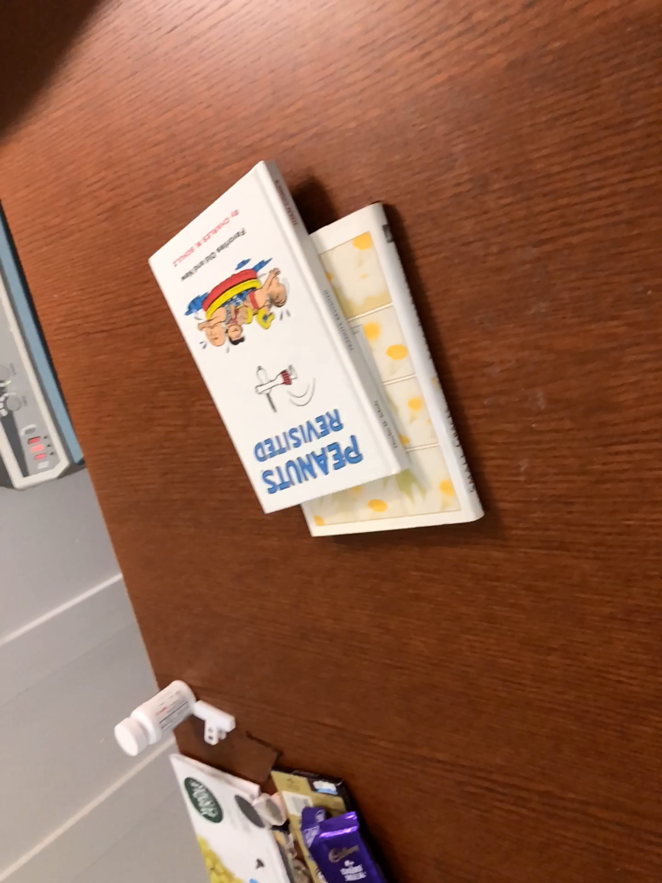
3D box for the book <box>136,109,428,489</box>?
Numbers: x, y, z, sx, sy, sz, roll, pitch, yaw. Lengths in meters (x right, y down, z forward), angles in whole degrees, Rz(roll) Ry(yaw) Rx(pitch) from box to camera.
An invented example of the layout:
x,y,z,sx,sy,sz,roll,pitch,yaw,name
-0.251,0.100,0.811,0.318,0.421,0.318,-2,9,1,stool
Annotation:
x,y,z,sx,sy,sz,roll,pitch,yaw,name
-0.043,-0.086,0.506,0.161,0.020,0.210,-25,92,44,book
